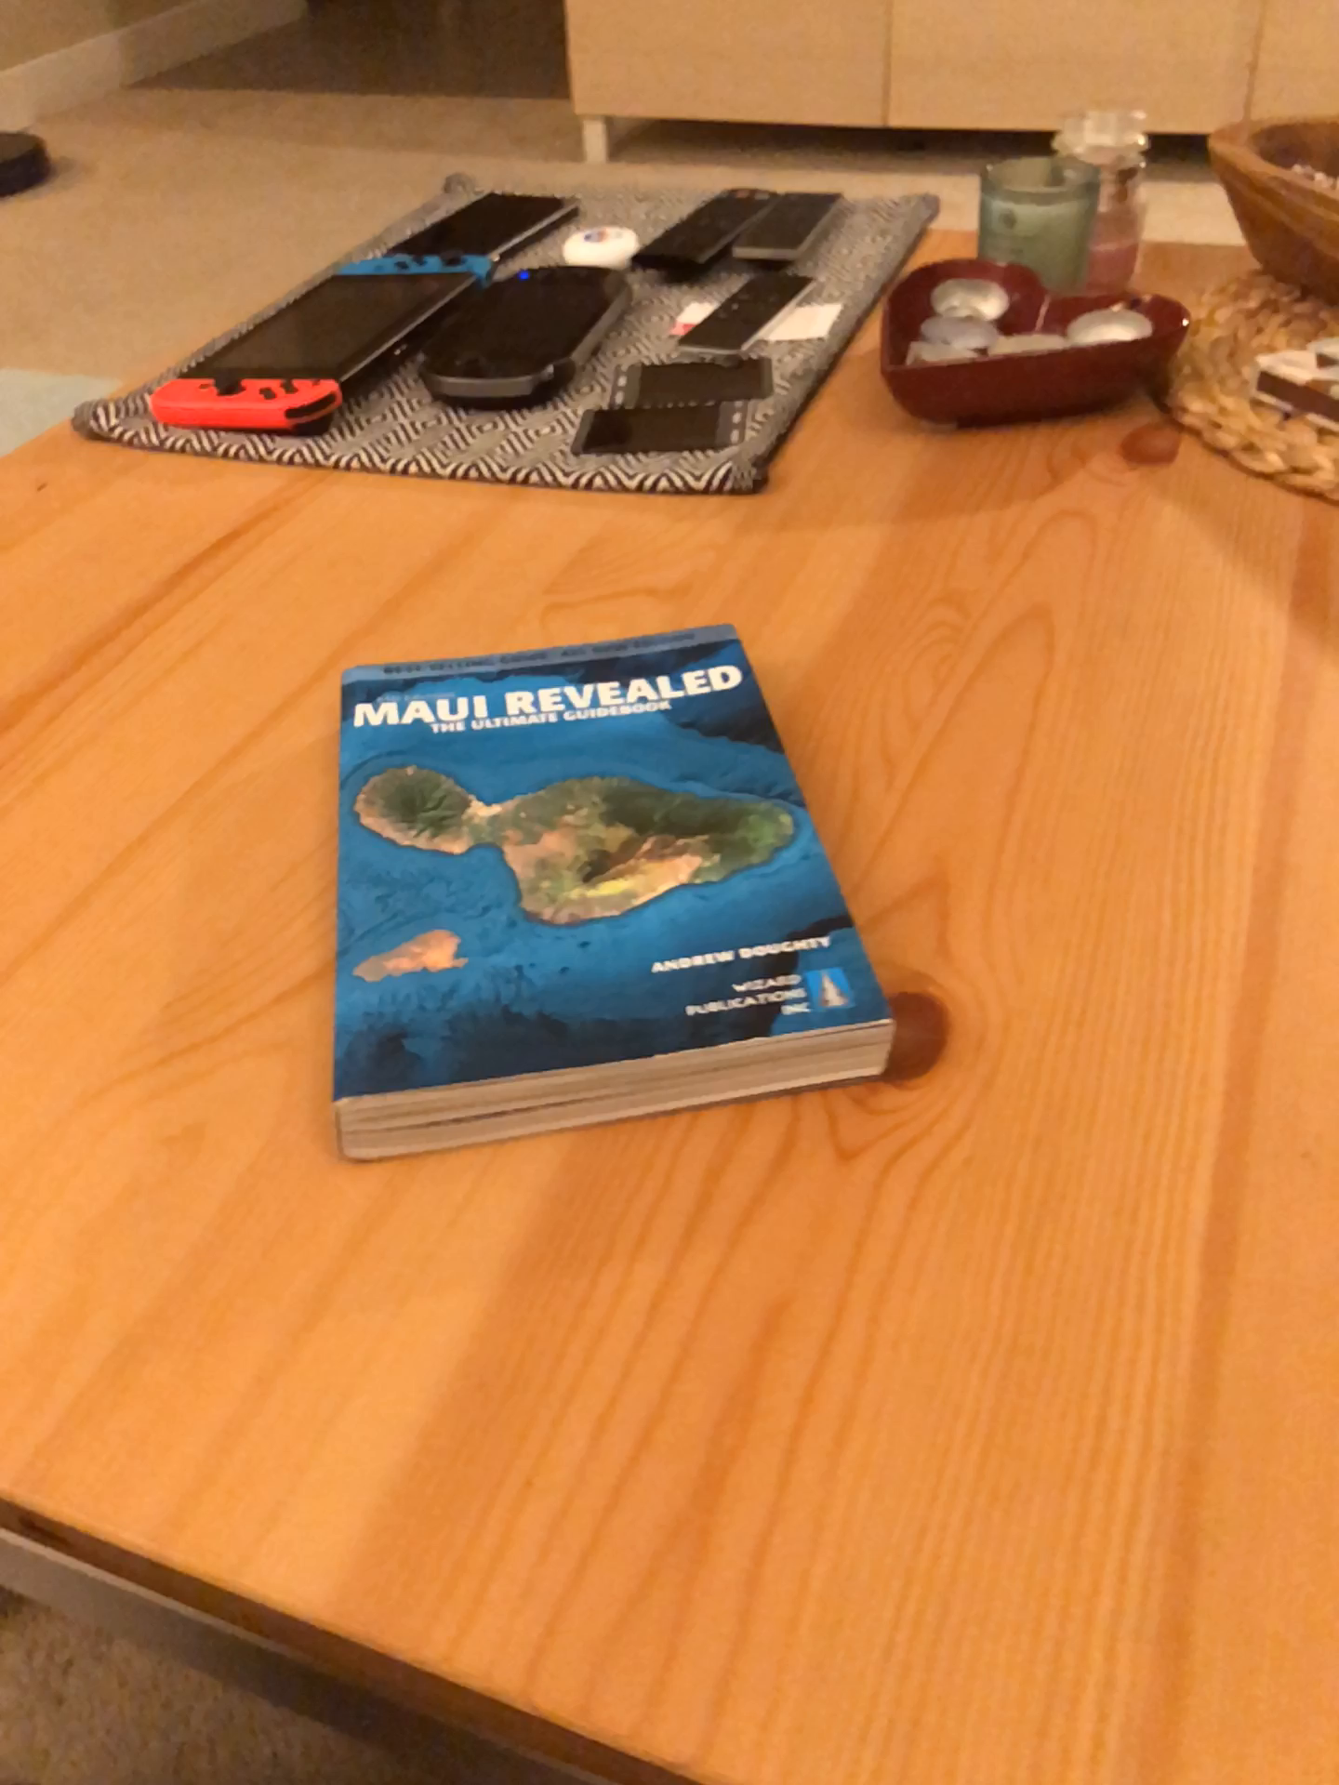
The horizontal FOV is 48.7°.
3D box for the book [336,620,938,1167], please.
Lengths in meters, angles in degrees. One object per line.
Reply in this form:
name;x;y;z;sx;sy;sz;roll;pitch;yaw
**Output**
book;-0.023;-0.014;0.438;0.146;0.020;0.201;-7;41;-7
